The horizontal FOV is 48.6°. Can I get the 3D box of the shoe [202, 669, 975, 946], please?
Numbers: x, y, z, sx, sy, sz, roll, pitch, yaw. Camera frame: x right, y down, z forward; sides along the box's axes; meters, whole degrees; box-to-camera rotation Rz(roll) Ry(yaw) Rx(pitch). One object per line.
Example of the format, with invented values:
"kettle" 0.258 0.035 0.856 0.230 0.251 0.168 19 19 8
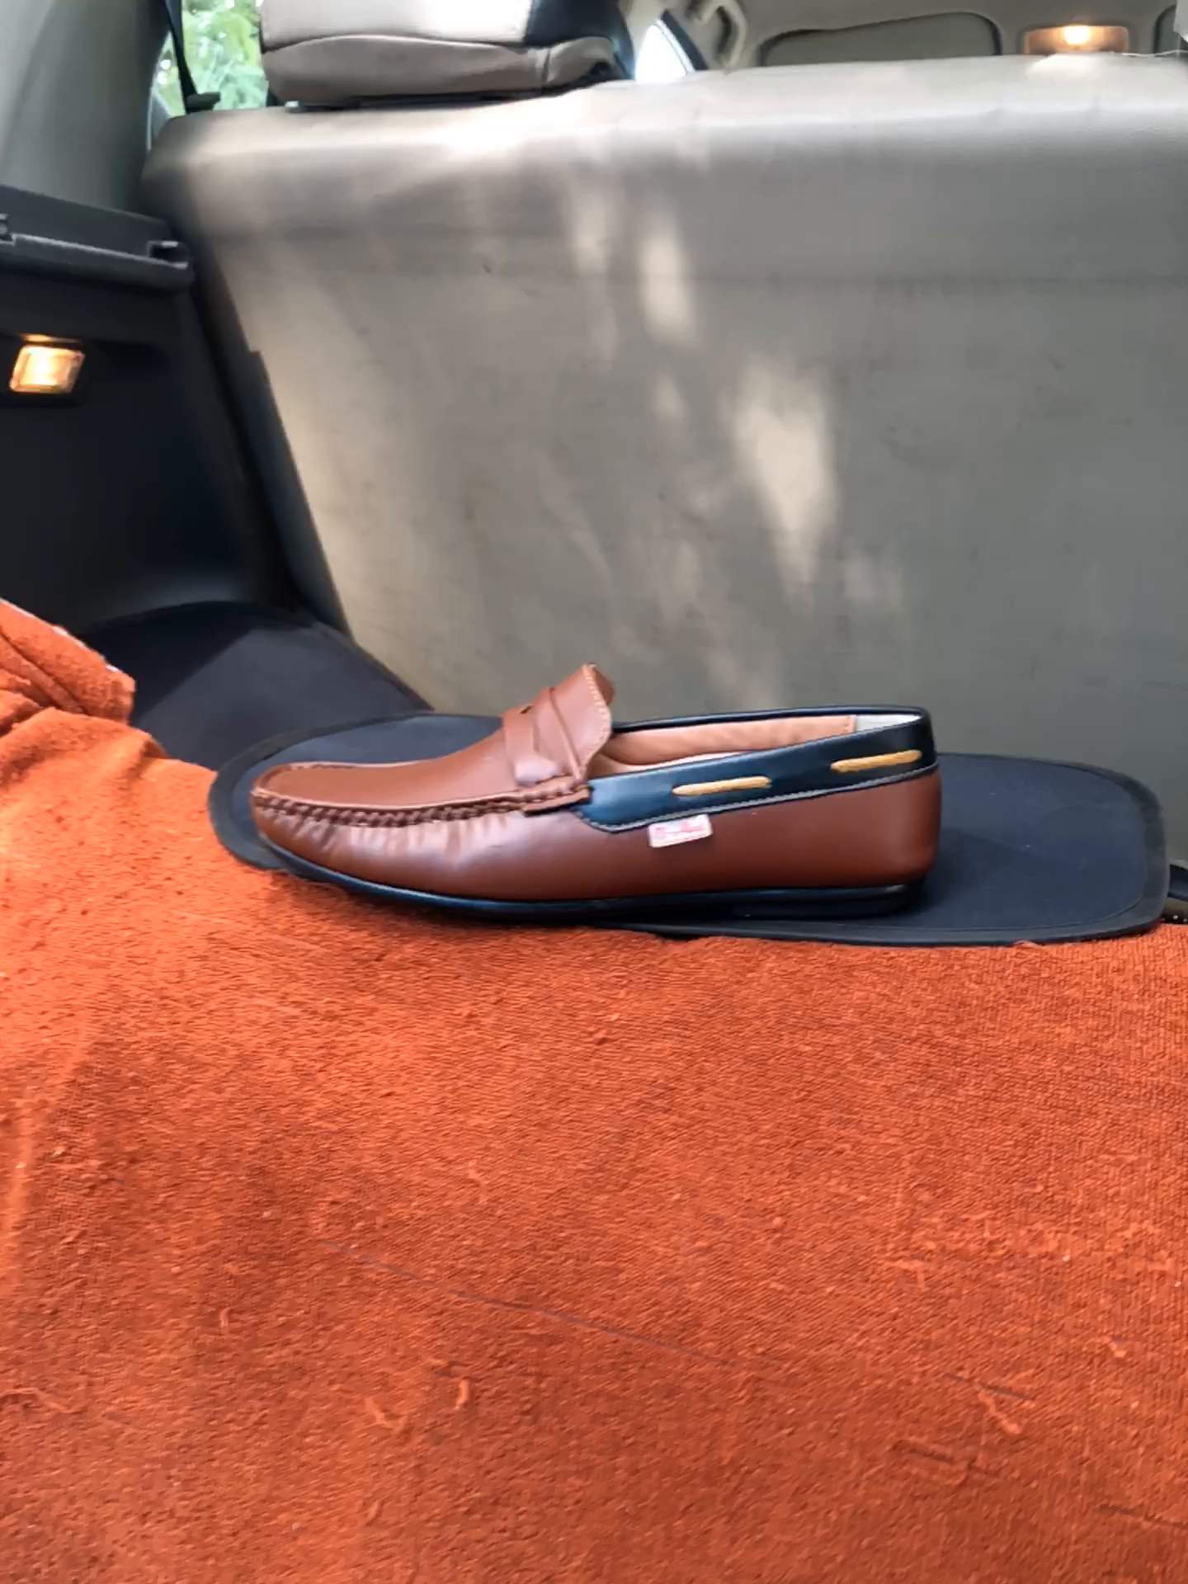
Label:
"shoe" -0.001 0.002 0.538 0.280 0.070 0.110 -3 17 1
